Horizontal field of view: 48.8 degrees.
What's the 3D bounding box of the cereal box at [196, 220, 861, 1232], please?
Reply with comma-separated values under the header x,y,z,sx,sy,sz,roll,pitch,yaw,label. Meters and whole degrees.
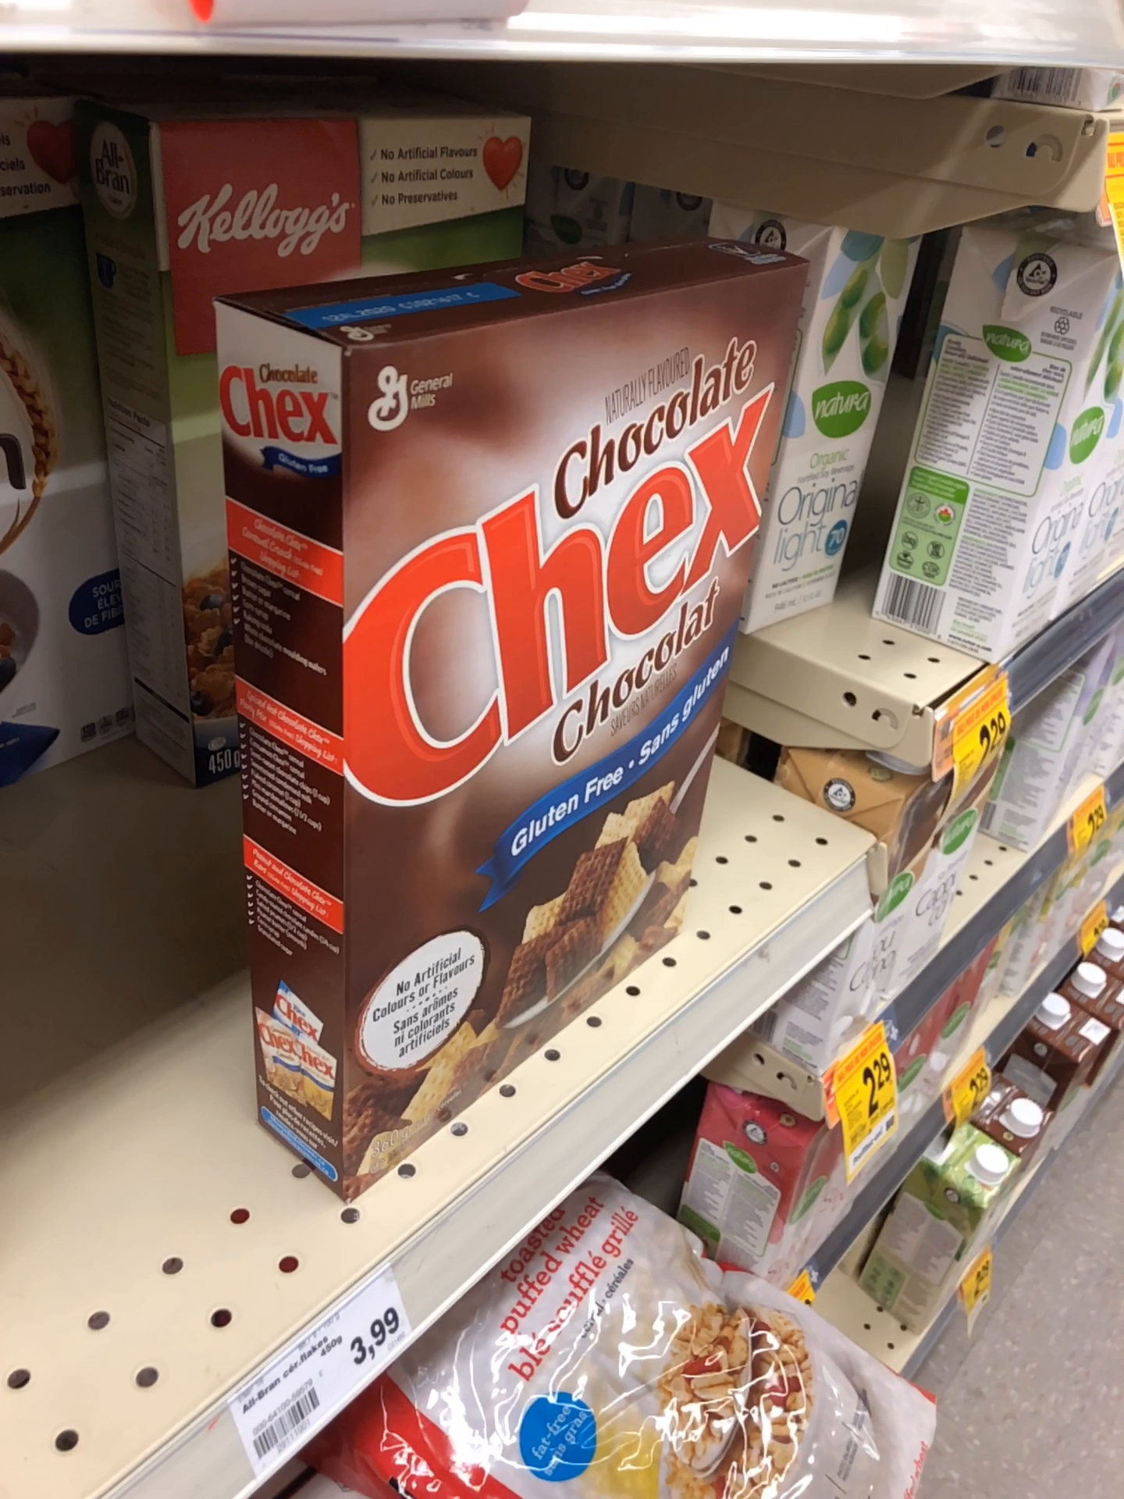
x,y,z,sx,sy,sz,roll,pitch,yaw,label
-0.007,-0.012,0.404,0.050,0.278,0.211,29,38,30,cereal box
